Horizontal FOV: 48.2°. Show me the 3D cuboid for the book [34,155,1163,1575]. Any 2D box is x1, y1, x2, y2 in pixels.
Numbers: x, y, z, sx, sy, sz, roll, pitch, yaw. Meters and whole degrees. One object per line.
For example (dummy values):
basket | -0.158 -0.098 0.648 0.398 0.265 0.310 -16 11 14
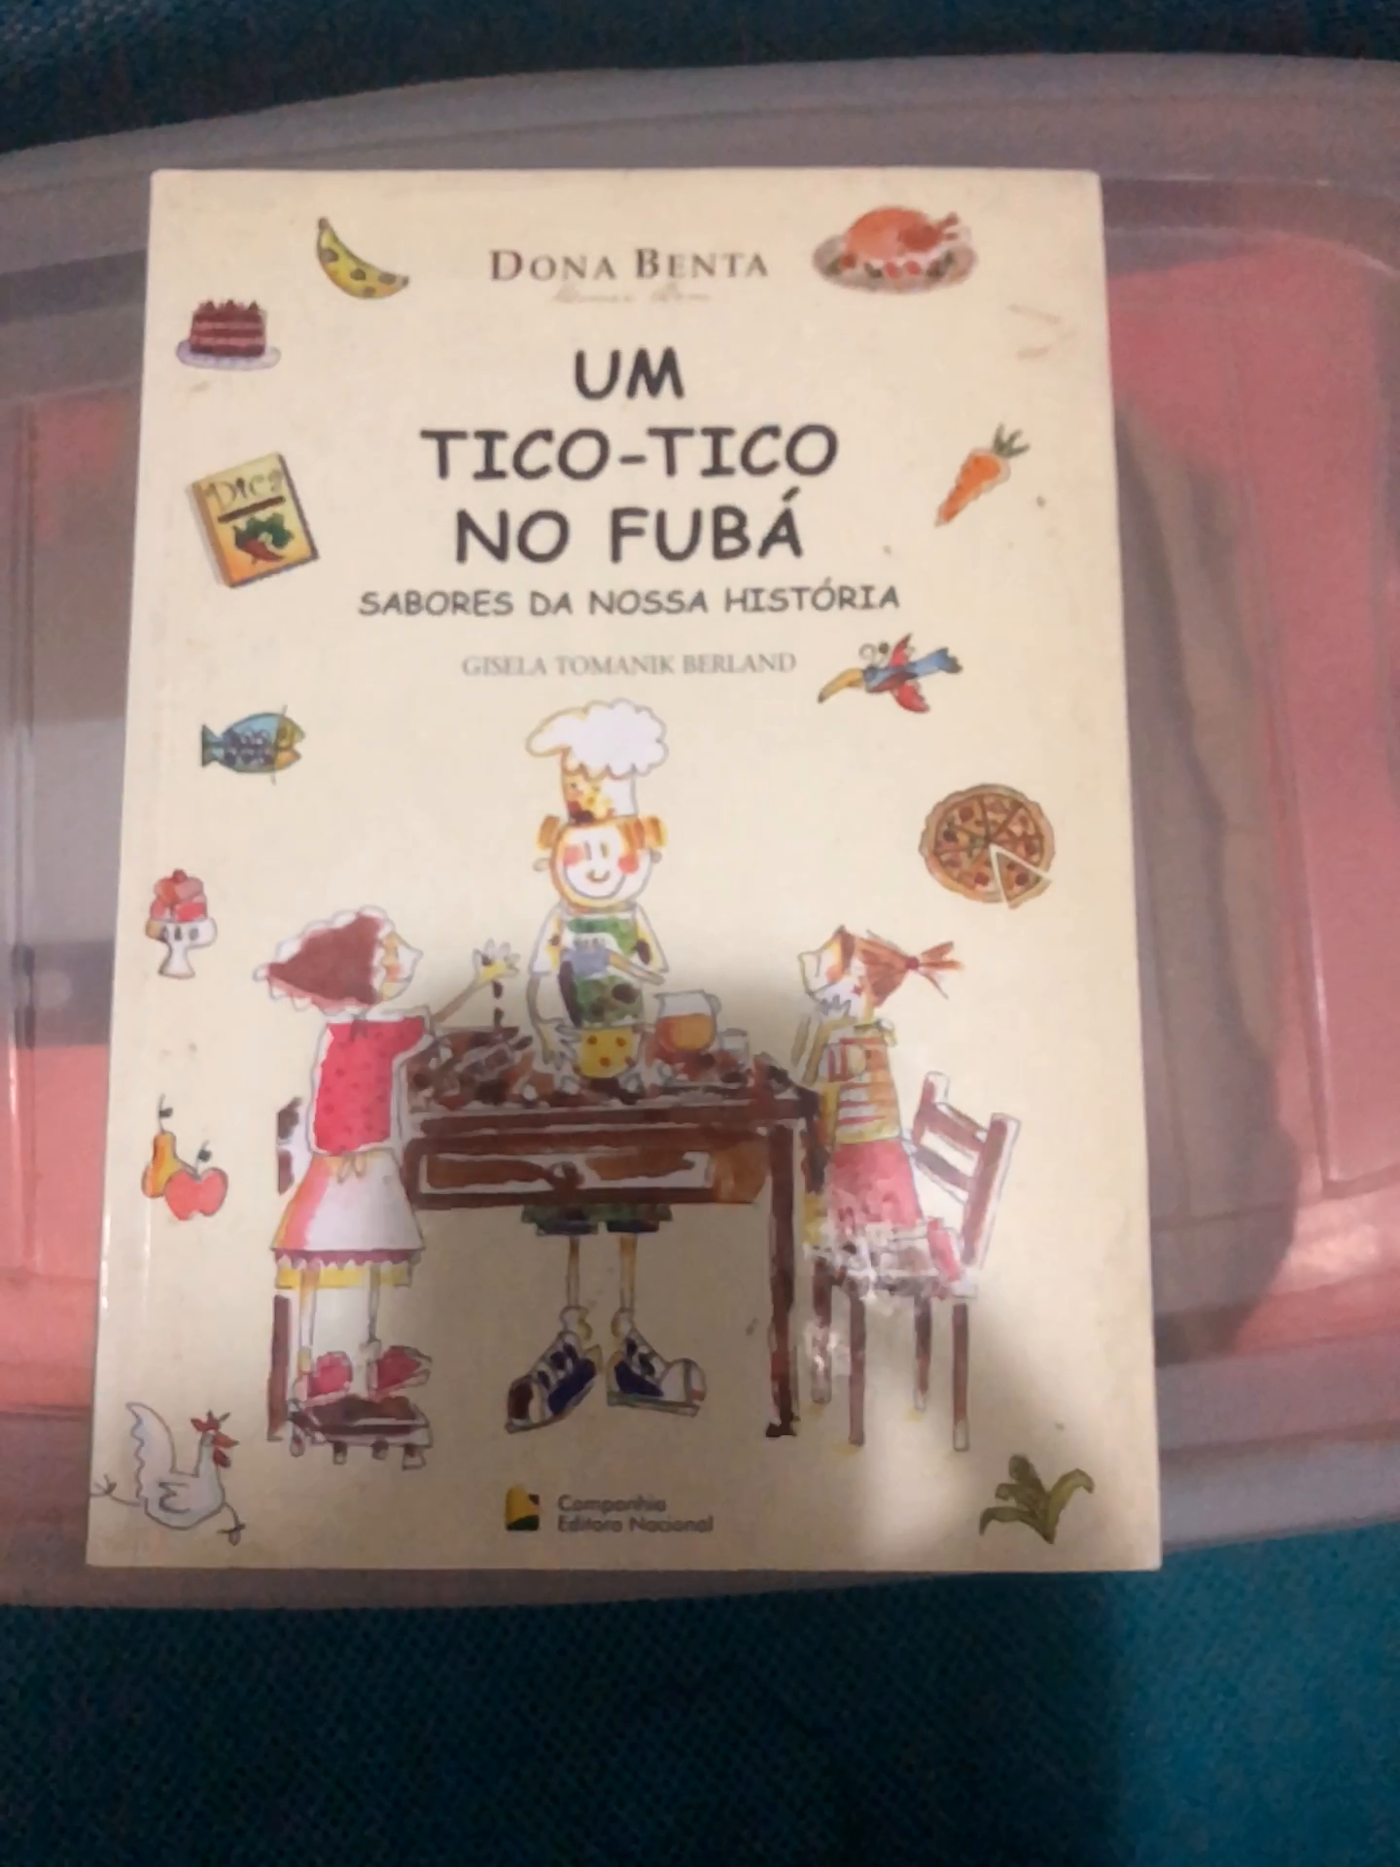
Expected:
book | -0.015 -0.017 0.263 0.171 0.020 0.232 0 82 -1
